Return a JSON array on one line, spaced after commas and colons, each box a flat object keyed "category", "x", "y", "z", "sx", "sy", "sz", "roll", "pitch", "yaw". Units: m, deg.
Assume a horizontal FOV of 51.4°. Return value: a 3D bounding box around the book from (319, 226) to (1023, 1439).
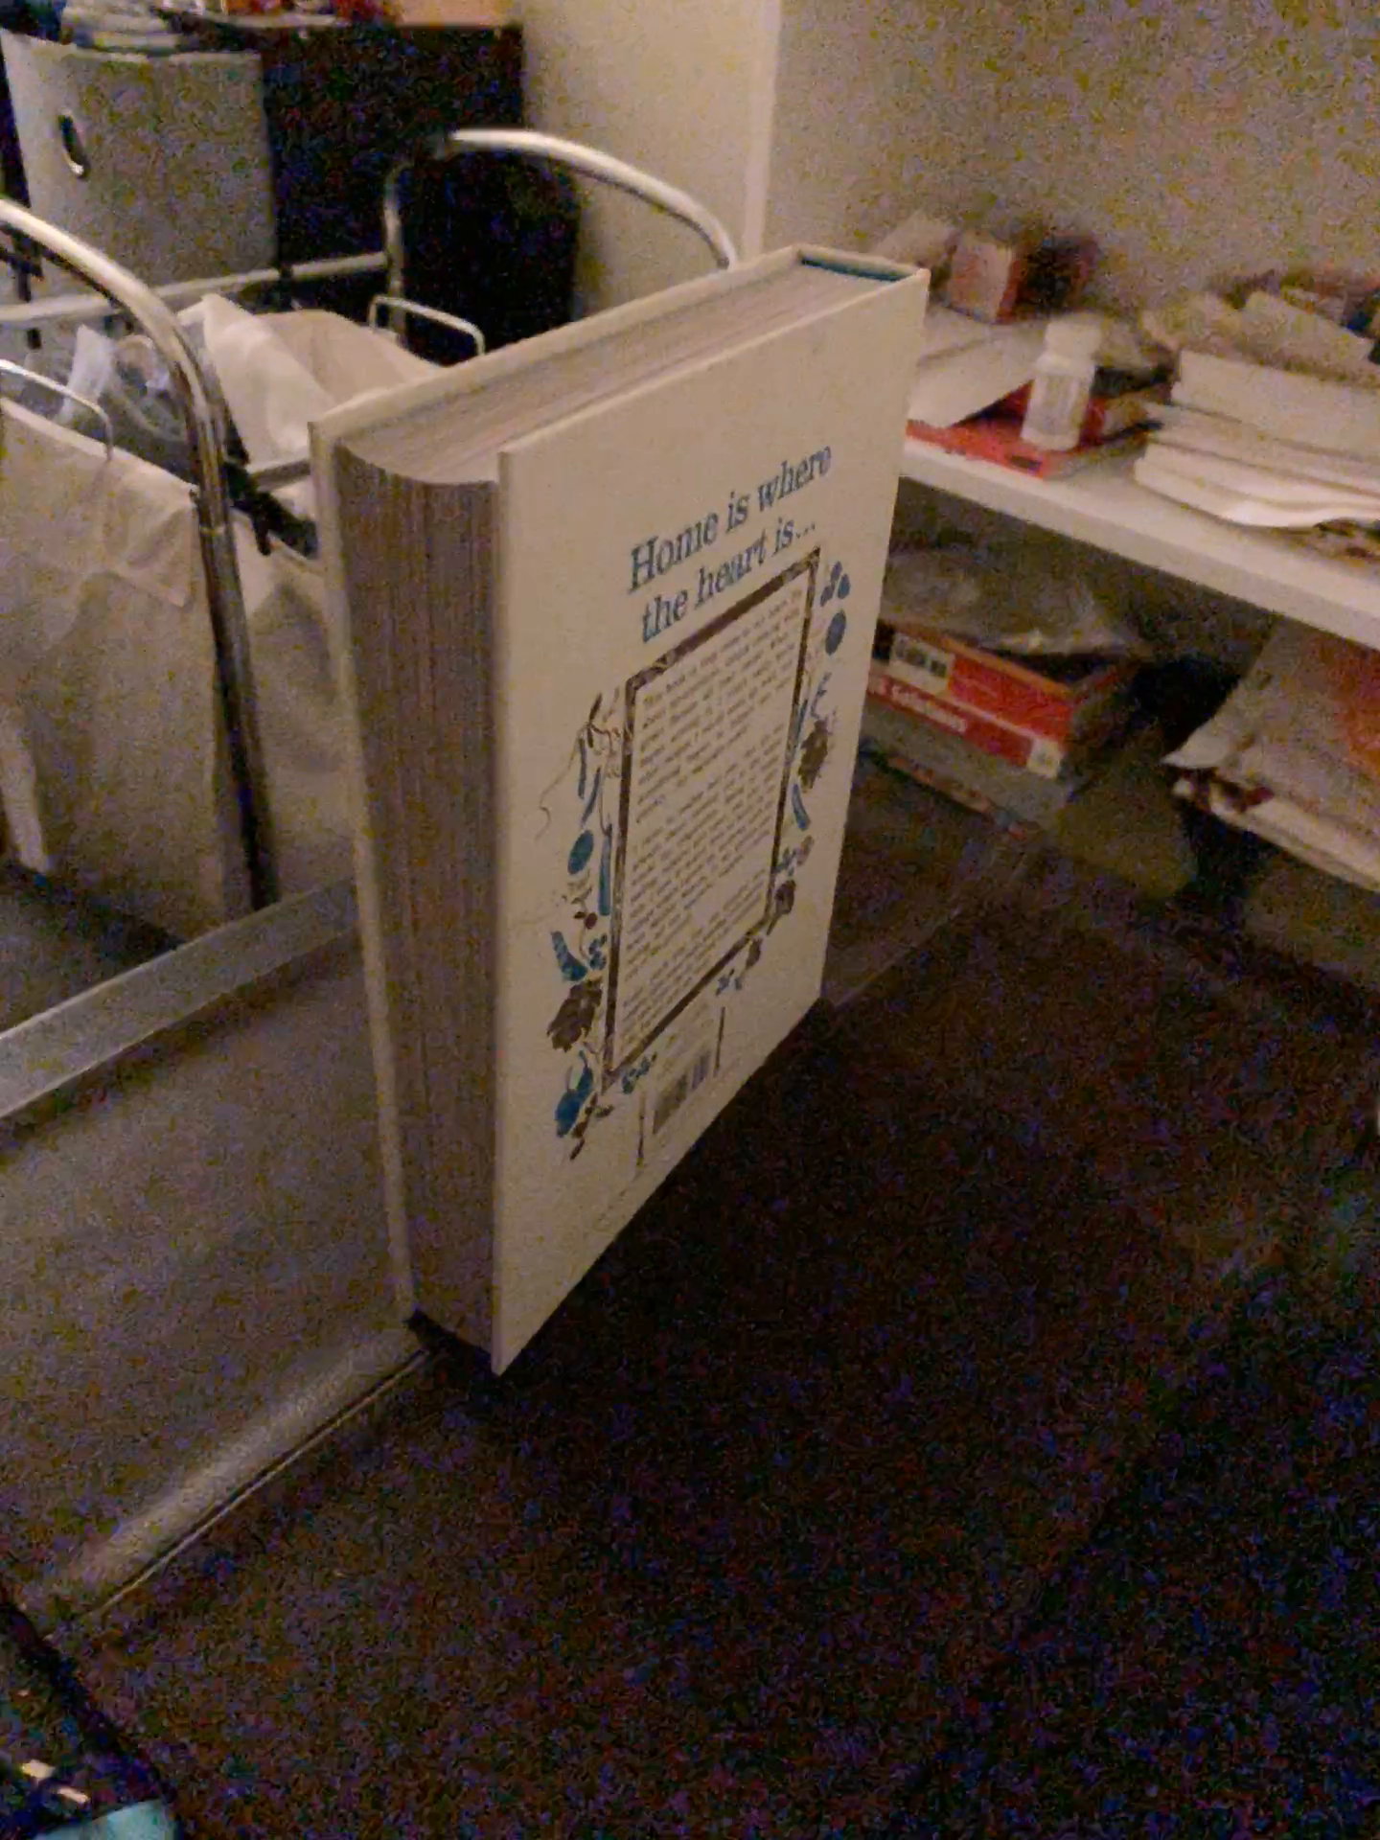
[{"category": "book", "x": 0.003, "y": -0.027, "z": 0.394, "sx": 0.050, "sy": 0.268, "sz": 0.211, "roll": 23, "pitch": 39, "yaw": 23}]
